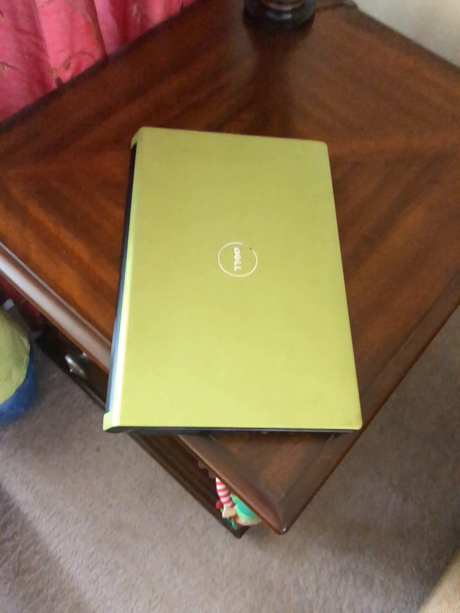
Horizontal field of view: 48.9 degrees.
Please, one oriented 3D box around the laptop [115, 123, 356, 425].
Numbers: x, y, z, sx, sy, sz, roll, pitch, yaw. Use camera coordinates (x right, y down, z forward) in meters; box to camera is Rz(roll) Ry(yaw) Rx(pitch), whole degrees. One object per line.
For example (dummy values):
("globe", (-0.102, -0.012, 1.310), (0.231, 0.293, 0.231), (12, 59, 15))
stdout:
("laptop", (0.007, -0.056, 0.585), (0.236, 0.020, 0.379), (3, 63, -8))
